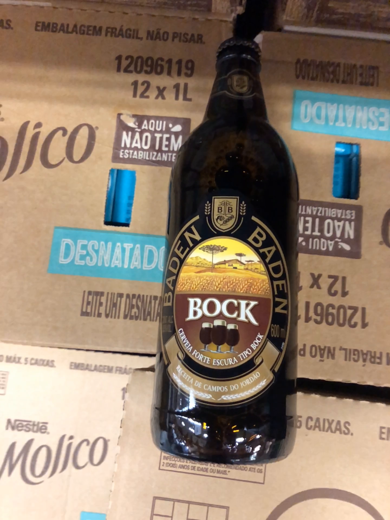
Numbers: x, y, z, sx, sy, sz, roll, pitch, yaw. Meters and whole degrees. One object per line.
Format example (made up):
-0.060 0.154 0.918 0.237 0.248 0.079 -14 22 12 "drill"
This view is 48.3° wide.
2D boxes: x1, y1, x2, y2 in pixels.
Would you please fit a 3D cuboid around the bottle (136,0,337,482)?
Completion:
0.021 -0.020 0.229 0.080 0.070 0.230 2 79 0 "bottle"
